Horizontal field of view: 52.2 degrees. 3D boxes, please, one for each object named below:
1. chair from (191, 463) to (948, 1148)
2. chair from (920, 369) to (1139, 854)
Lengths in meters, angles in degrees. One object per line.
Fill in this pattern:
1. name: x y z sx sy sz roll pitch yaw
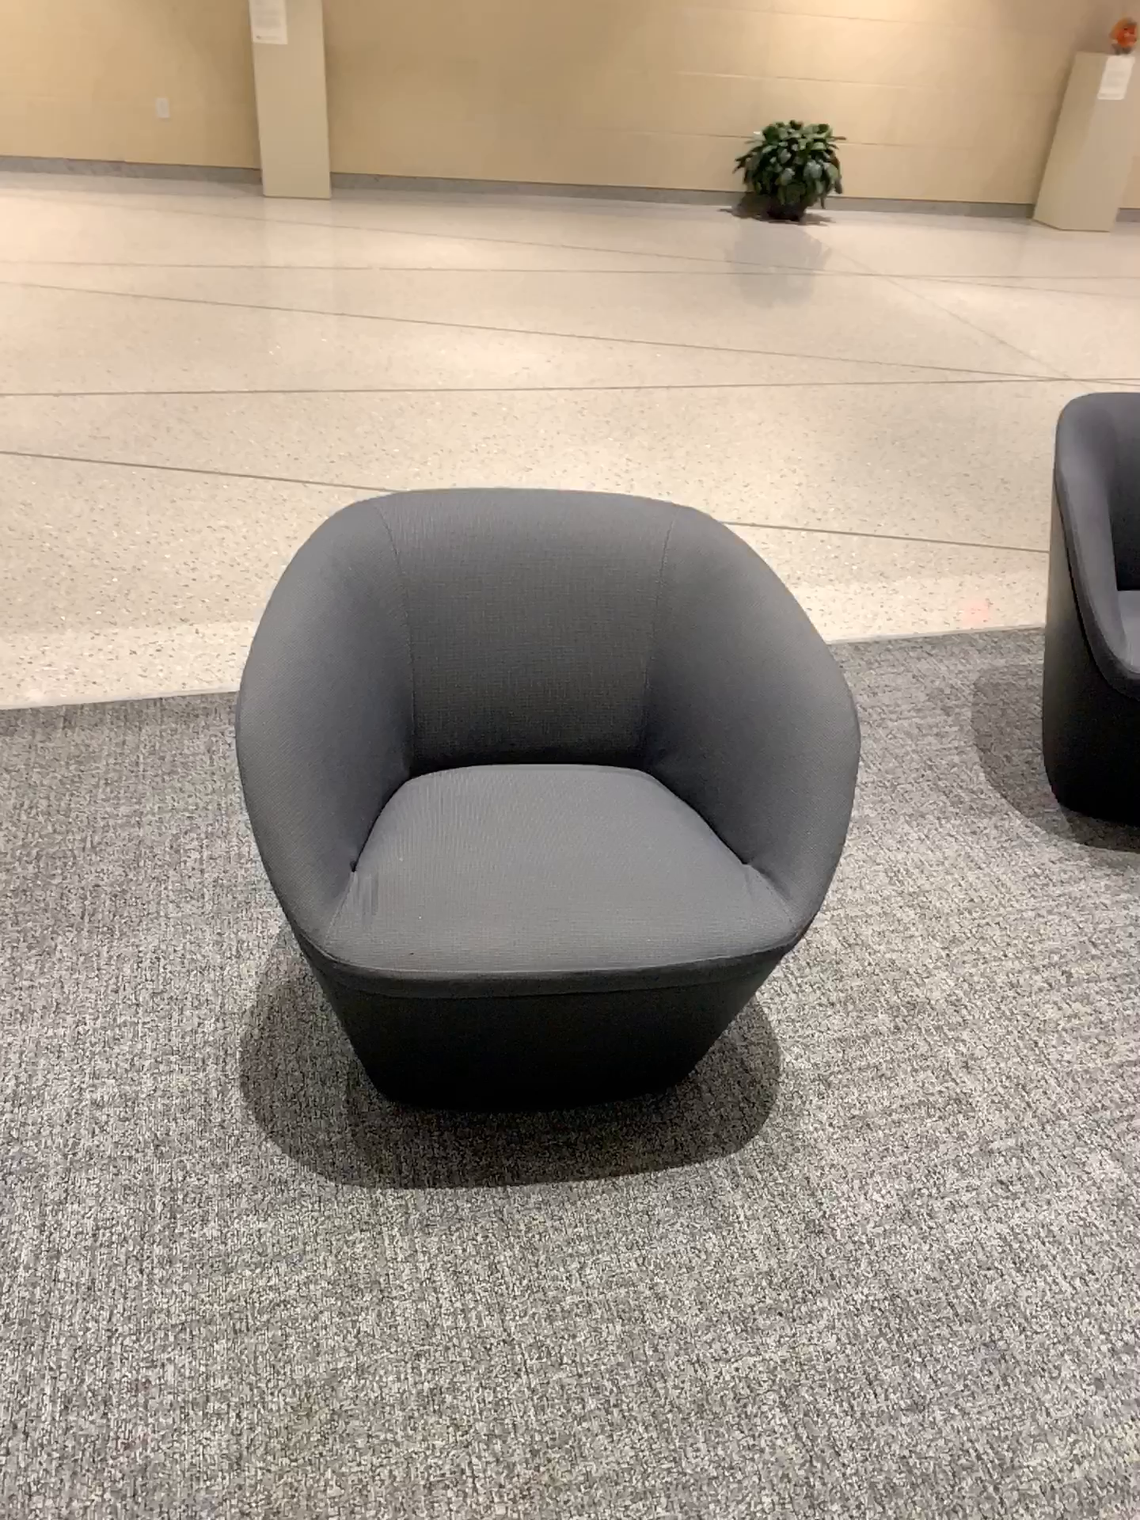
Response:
1. chair: -0.053 0.022 1.616 0.778 0.658 0.637 -2 34 -10
2. chair: 1.209 -0.300 2.236 0.768 0.668 0.637 3 33 -3
